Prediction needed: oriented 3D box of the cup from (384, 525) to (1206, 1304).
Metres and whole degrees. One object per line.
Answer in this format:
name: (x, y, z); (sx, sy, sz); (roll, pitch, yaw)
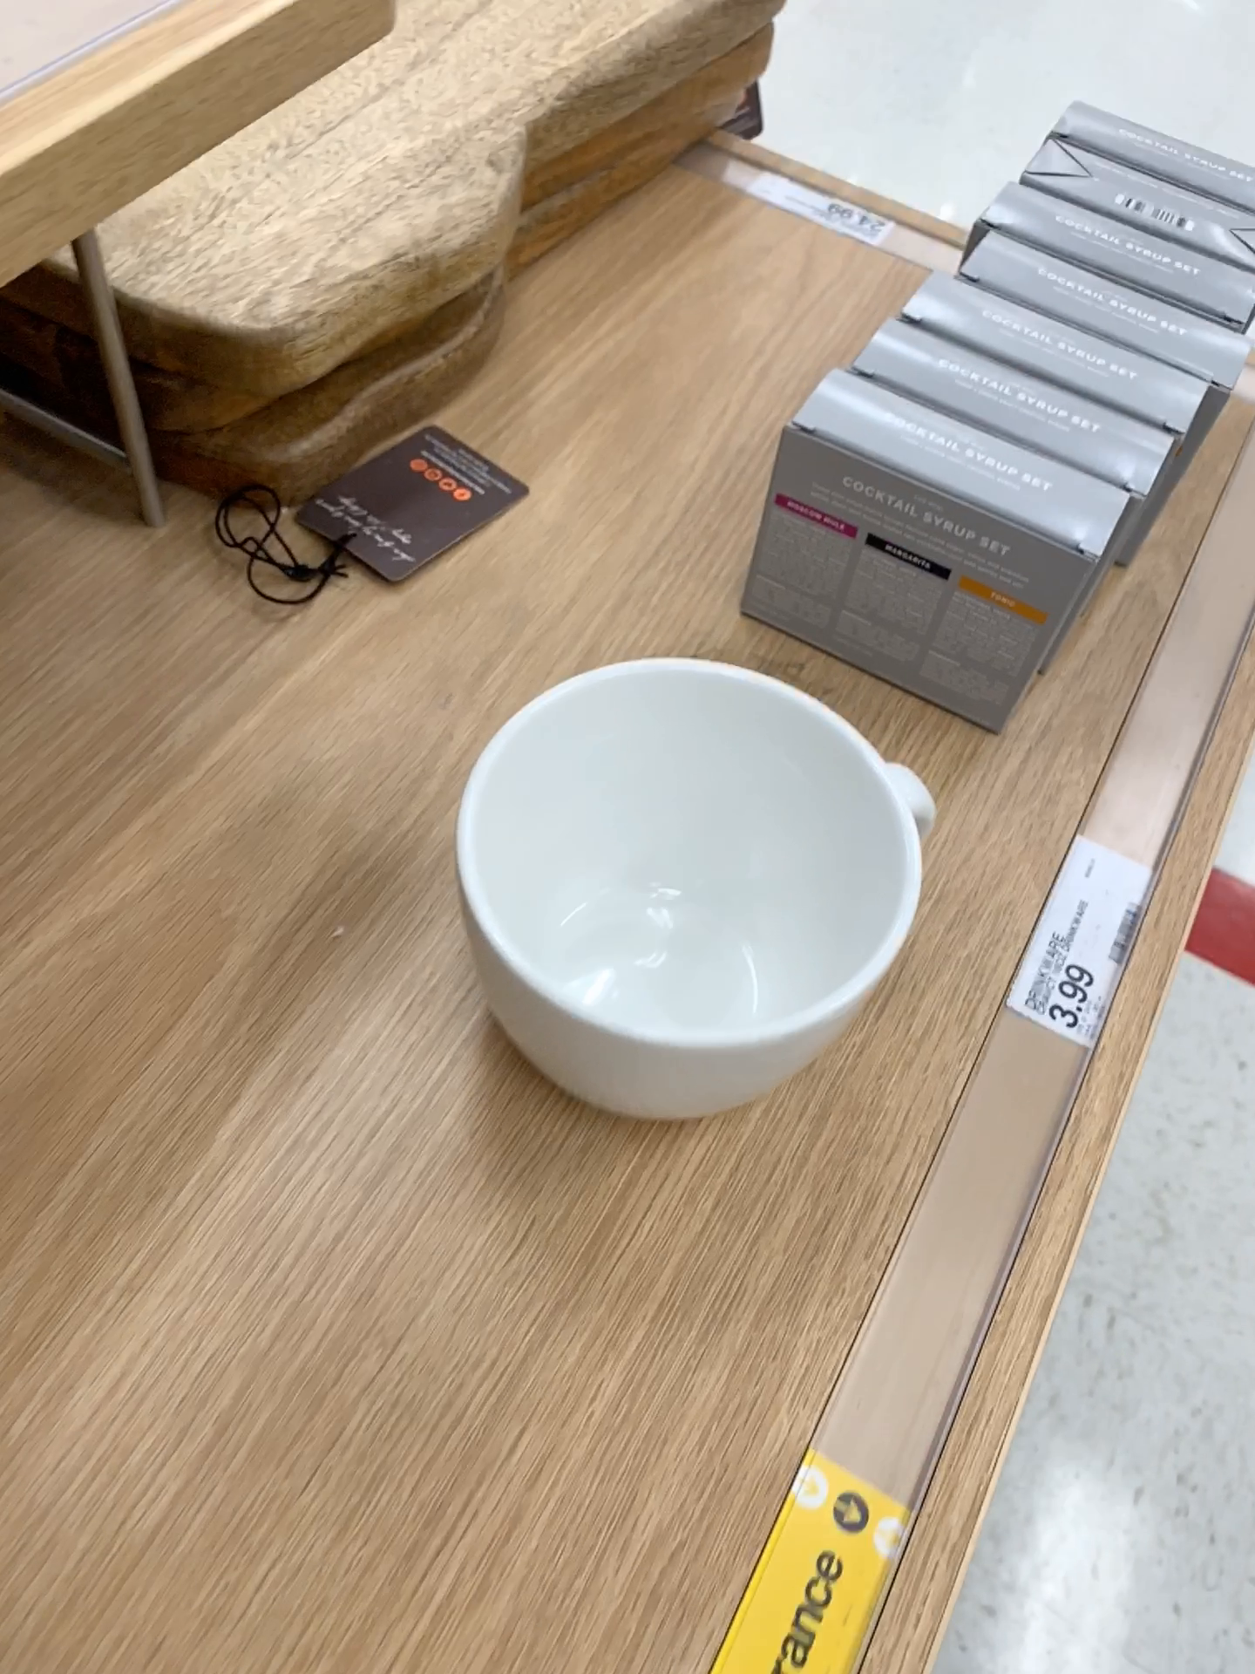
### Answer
cup: (0.033, 0.014, 0.309); (0.140, 0.080, 0.110); (-29, 65, -23)
